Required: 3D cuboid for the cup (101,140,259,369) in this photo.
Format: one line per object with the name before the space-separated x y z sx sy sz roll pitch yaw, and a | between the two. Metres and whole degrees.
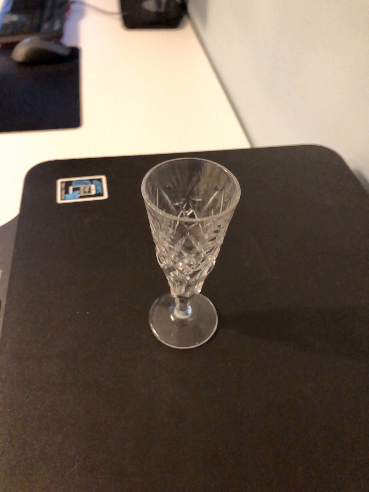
cup | -0.002 0.009 0.232 0.054 0.109 0.057 1 48 -1
